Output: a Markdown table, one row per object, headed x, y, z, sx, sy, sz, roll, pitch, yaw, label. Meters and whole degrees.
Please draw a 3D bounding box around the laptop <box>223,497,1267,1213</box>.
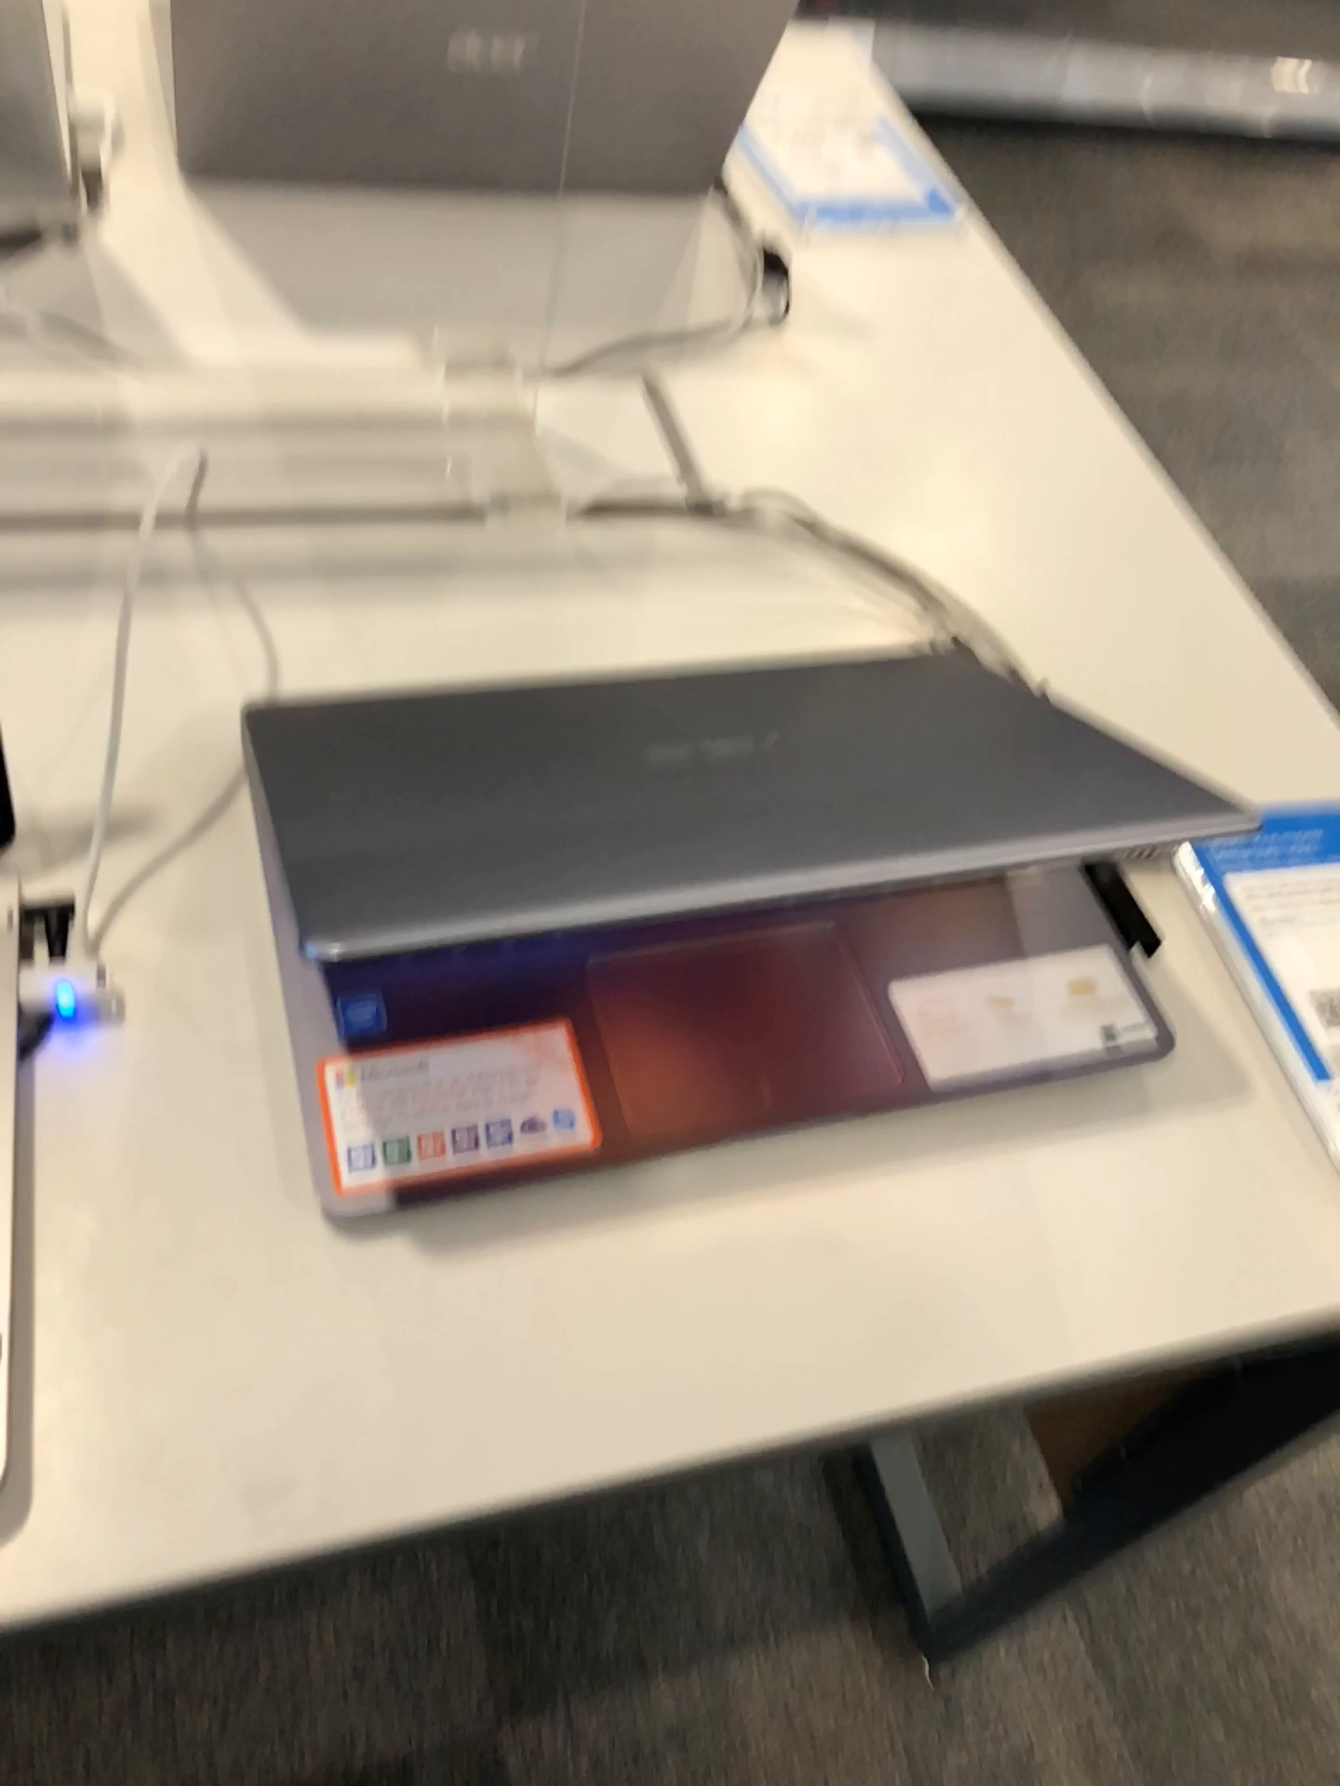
| x | y | z | sx | sy | sz | roll | pitch | yaw | label |
| --- | --- | --- | --- | --- | --- | --- | --- | --- | --- |
| 0.013 | -0.030 | 0.519 | 0.300 | 0.099 | 0.201 | -8 | 54 | -19 | laptop |
